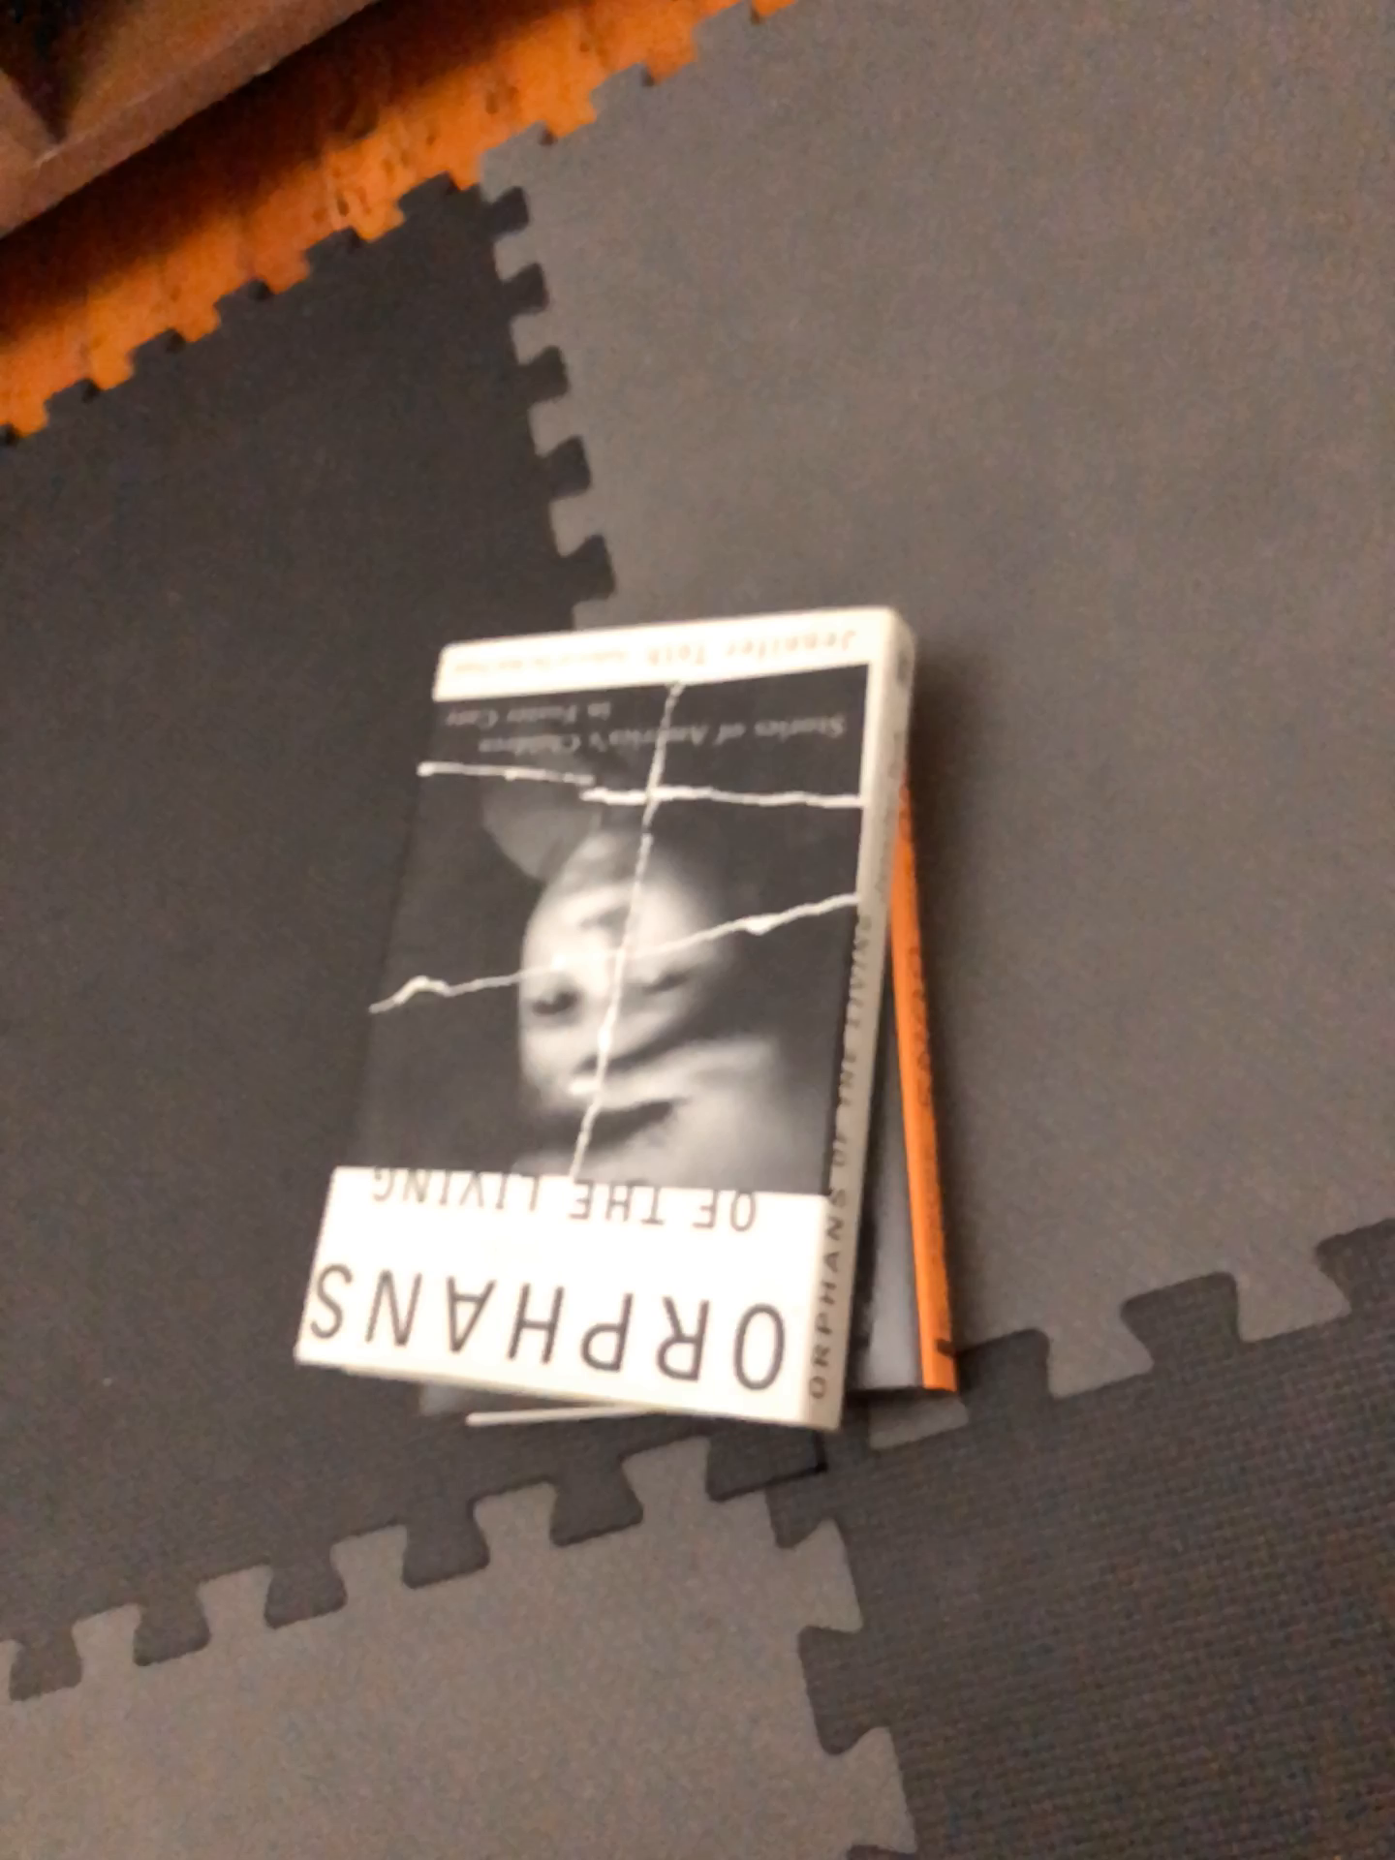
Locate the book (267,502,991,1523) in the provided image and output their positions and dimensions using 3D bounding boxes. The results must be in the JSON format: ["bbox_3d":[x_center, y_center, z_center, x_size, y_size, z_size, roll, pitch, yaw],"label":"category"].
[{"bbox_3d":[-0.016,0.013,0.460,0.180,0.030,0.281,-1,69,26],"label":"book"}]

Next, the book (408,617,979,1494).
[{"bbox_3d":[-0.008,0.036,0.482,0.160,0.030,0.251,-12,64,21],"label":"book"}]
